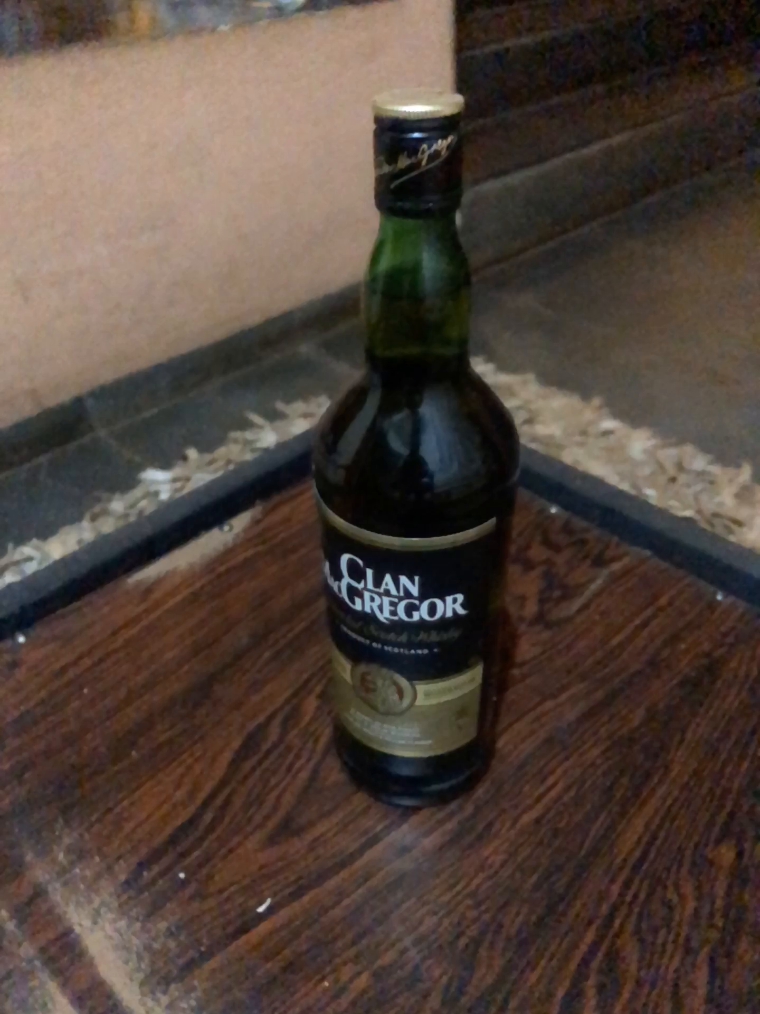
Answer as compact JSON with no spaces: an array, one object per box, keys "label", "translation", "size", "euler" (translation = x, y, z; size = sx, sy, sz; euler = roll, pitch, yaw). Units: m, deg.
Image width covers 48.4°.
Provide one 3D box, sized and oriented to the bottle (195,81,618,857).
[{"label":"bottle","translation":[0.018,0.002,0.360],"size":[0.100,0.308,0.101],"euler":[-2,37,1]}]
